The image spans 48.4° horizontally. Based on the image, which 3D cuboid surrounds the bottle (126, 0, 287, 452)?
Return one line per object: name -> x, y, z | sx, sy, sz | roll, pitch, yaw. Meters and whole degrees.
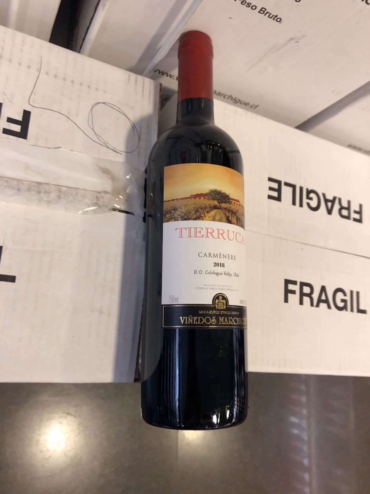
bottle -> 0.014, -0.033, 0.312 | 0.080, 0.080, 0.320 | 7, 77, -27
